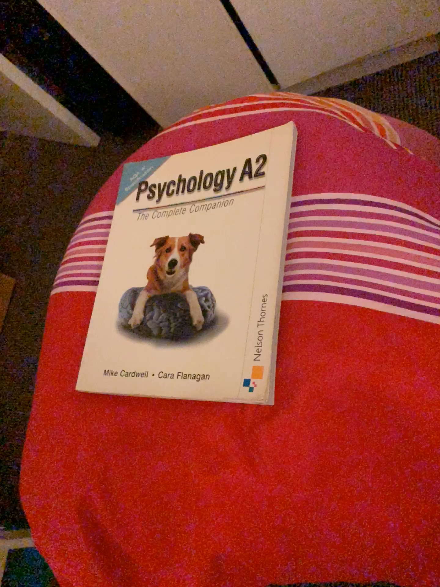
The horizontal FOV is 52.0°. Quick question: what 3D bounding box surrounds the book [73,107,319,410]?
[{"bbox_3d":[-0.025,-0.036,0.480,0.241,0.040,0.291,-5,66,32],"label":"book"}]
